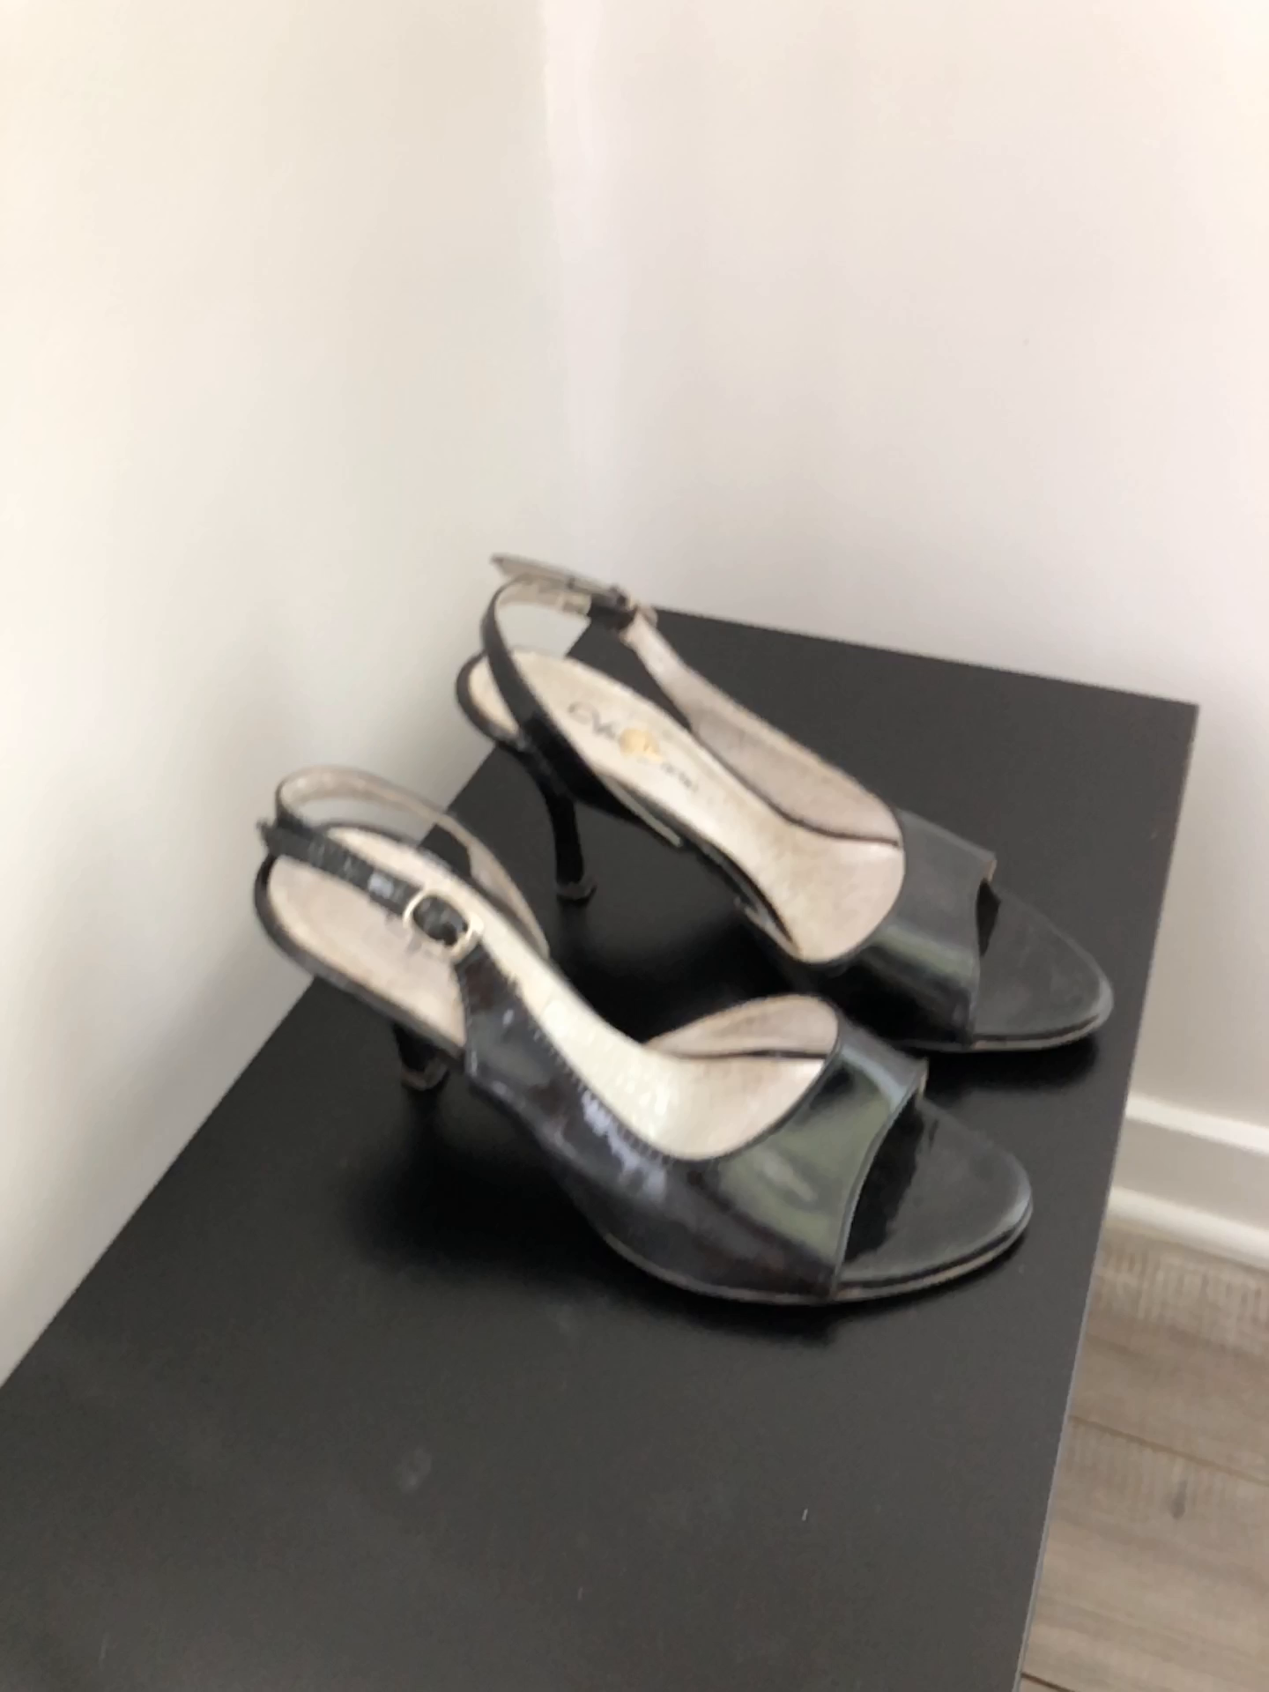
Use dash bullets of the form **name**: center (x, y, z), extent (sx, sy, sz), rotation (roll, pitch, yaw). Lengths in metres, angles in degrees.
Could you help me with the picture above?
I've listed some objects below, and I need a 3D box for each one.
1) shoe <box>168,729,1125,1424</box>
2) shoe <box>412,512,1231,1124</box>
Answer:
- **shoe**: center (0.005, 0.055, 0.368), extent (0.210, 0.110, 0.084), rotation (11, 43, 15)
- **shoe**: center (0.051, -0.015, 0.427), extent (0.210, 0.110, 0.084), rotation (16, 44, 20)
